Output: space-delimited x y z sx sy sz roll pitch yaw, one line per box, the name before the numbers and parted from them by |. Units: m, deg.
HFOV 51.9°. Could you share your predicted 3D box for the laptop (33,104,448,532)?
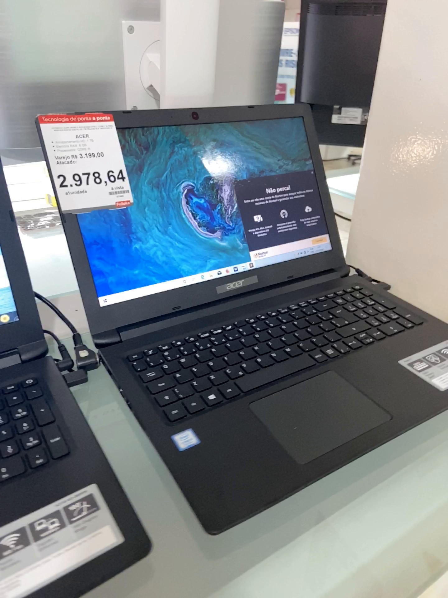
laptop | 0.053 -0.063 0.478 0.370 0.205 0.376 -15 33 -28
